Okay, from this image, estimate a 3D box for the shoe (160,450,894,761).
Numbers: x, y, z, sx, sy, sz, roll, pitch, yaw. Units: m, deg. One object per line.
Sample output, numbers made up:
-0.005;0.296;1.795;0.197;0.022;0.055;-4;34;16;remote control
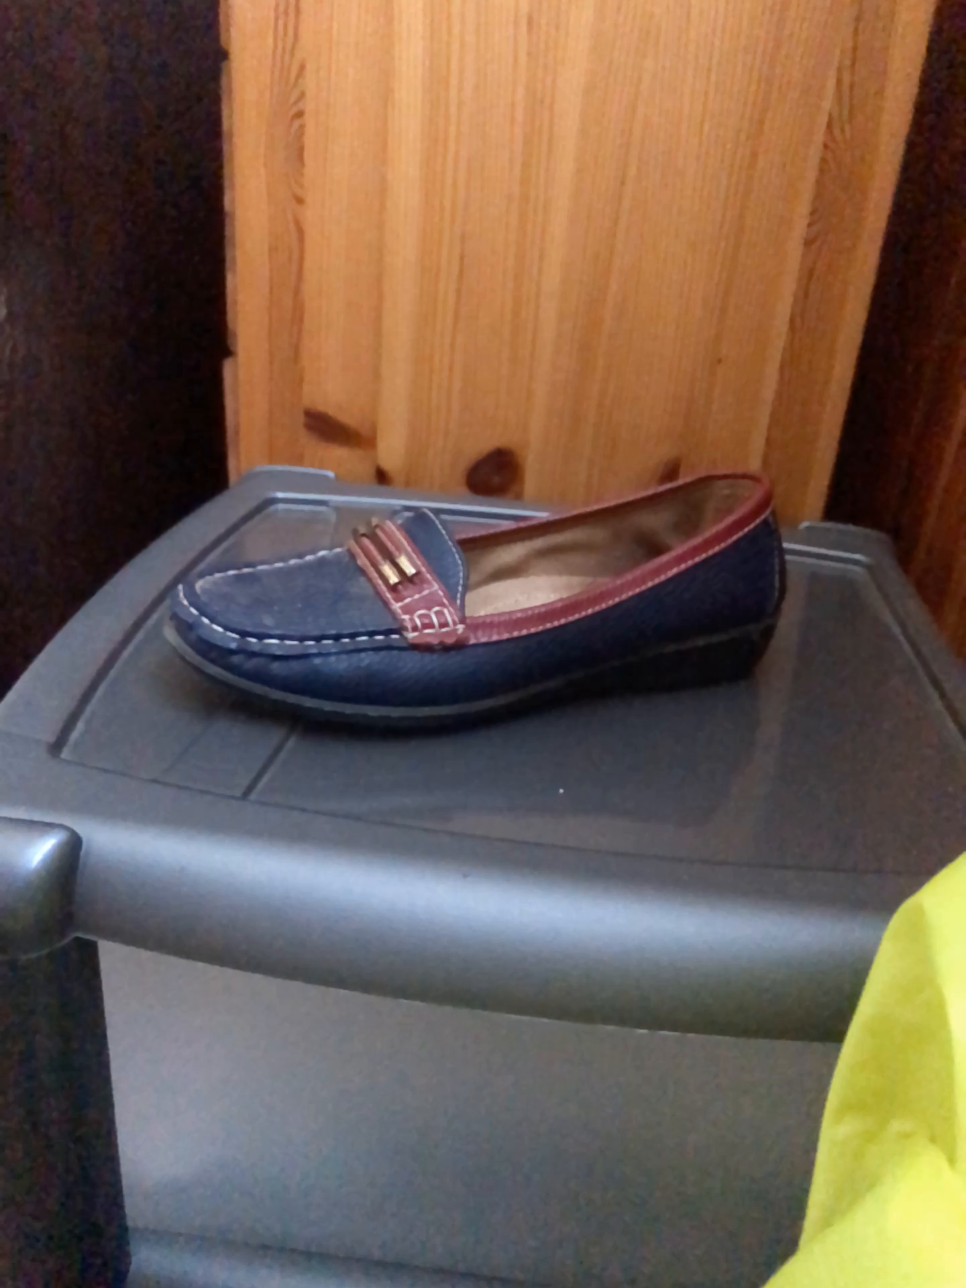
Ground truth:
0.014;-0.025;0.420;0.261;0.070;0.100;-5;28;-20;shoe
